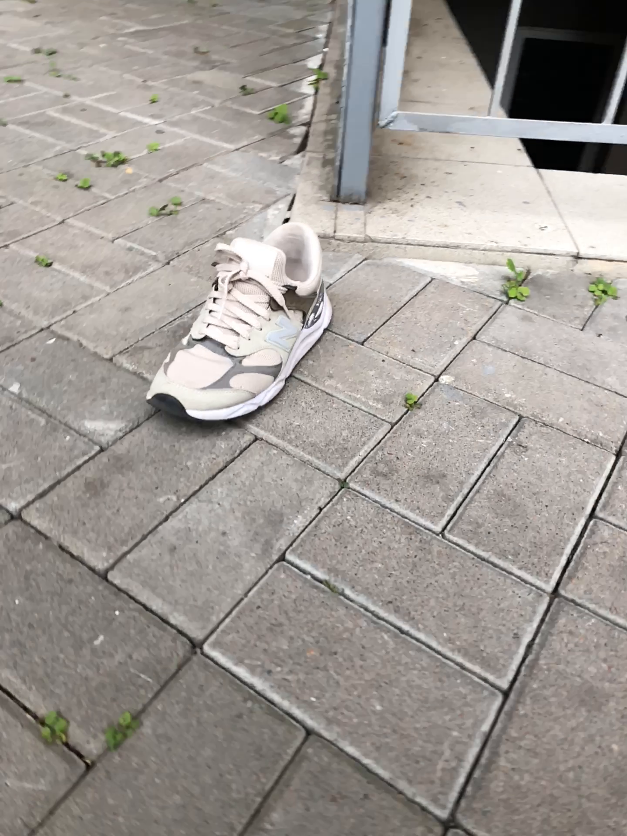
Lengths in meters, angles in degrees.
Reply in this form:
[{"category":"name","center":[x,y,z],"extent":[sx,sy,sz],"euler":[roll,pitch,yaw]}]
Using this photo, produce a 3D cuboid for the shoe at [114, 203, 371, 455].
[{"category":"shoe","center":[-0.057,-0.110,0.718],"extent":[0.120,0.109,0.302],"euler":[19,41,18]}]
